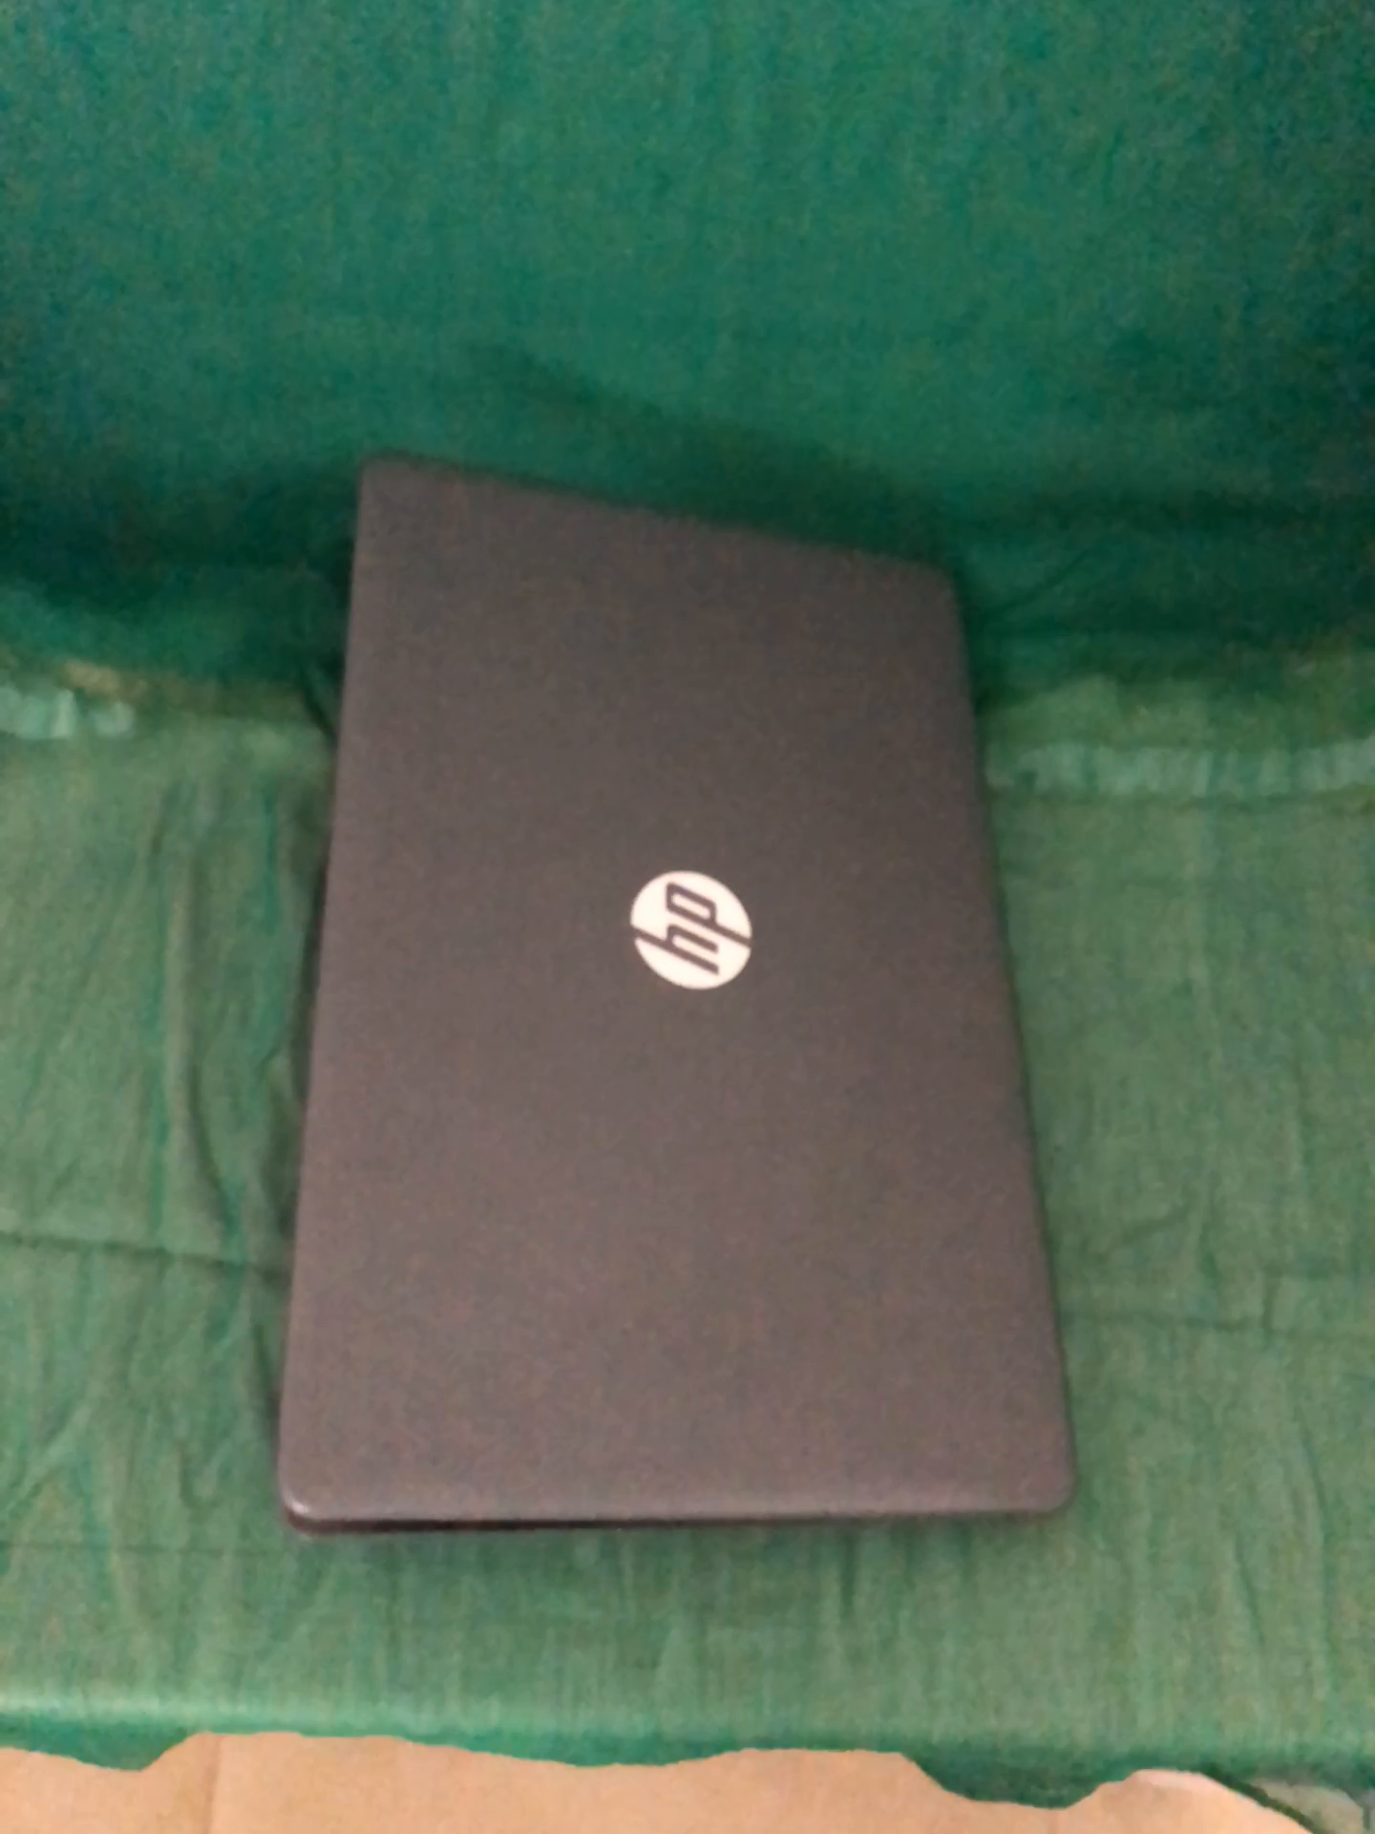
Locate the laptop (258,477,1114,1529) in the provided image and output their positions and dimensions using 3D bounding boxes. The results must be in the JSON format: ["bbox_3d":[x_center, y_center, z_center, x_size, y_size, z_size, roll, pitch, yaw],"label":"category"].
[{"bbox_3d":[-0.004,0.013,0.526,0.231,0.067,0.360,1,63,-3],"label":"laptop"}]
